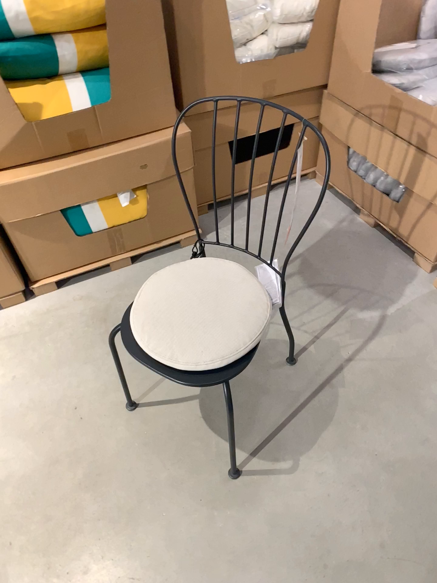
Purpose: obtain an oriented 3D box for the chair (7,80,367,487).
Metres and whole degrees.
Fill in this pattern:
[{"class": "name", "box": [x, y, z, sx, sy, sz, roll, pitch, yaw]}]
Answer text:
[{"class": "chair", "box": [-0.028, 0.012, 1.165, 0.481, 0.817, 0.521, 26, 55, 24]}]
